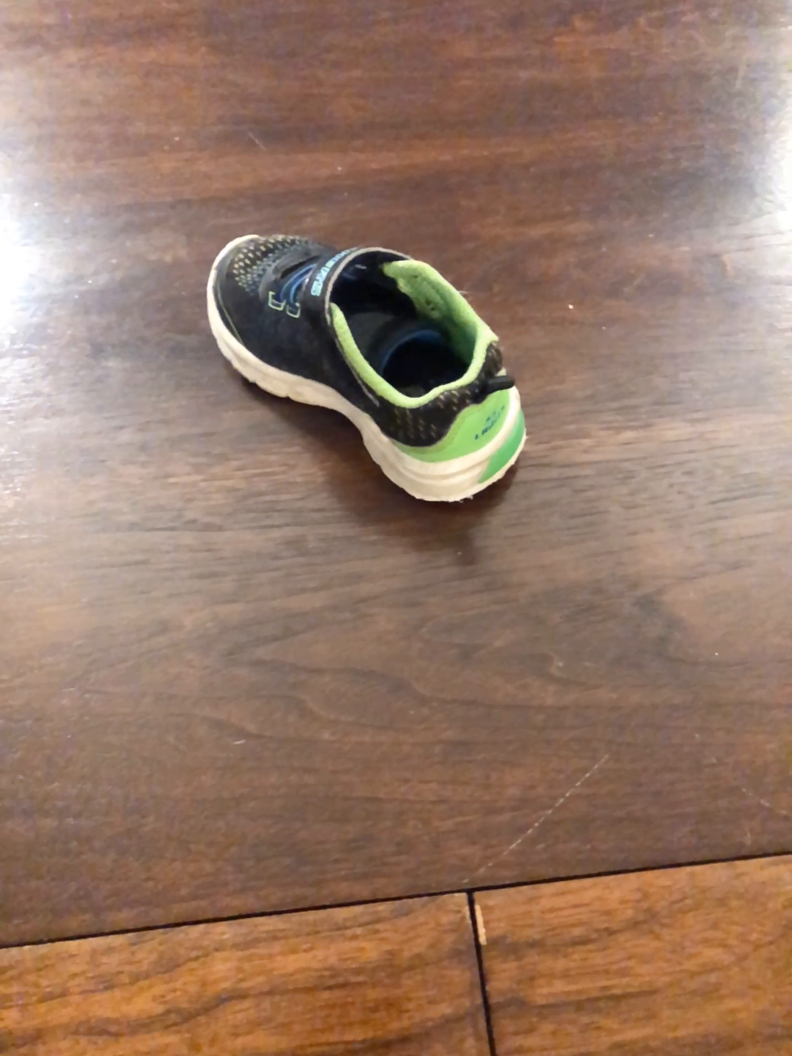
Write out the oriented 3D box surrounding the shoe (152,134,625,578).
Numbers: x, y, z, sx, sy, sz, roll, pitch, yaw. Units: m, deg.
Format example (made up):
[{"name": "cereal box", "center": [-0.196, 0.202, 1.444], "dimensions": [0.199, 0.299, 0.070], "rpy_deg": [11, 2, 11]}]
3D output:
[{"name": "shoe", "center": [-0.006, -0.074, 0.370], "dimensions": [0.170, 0.080, 0.080], "rpy_deg": [38, 67, 18]}]
